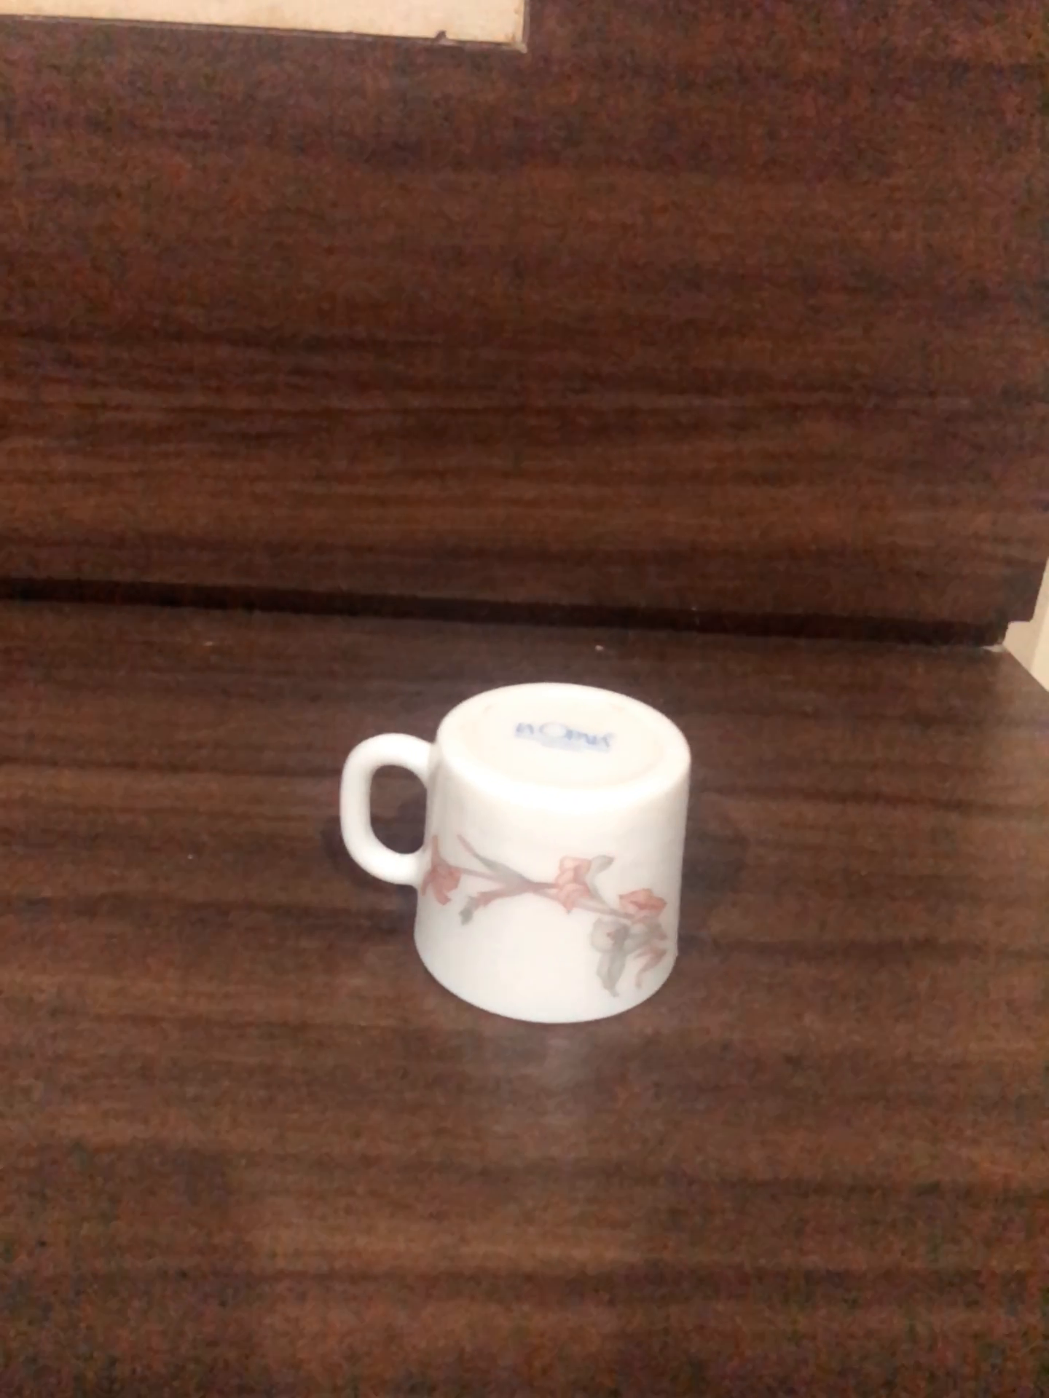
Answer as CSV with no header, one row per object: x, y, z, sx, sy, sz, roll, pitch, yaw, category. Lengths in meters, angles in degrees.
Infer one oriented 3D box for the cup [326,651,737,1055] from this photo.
0.003,0.037,0.294,0.090,0.070,0.060,6,29,5,cup
